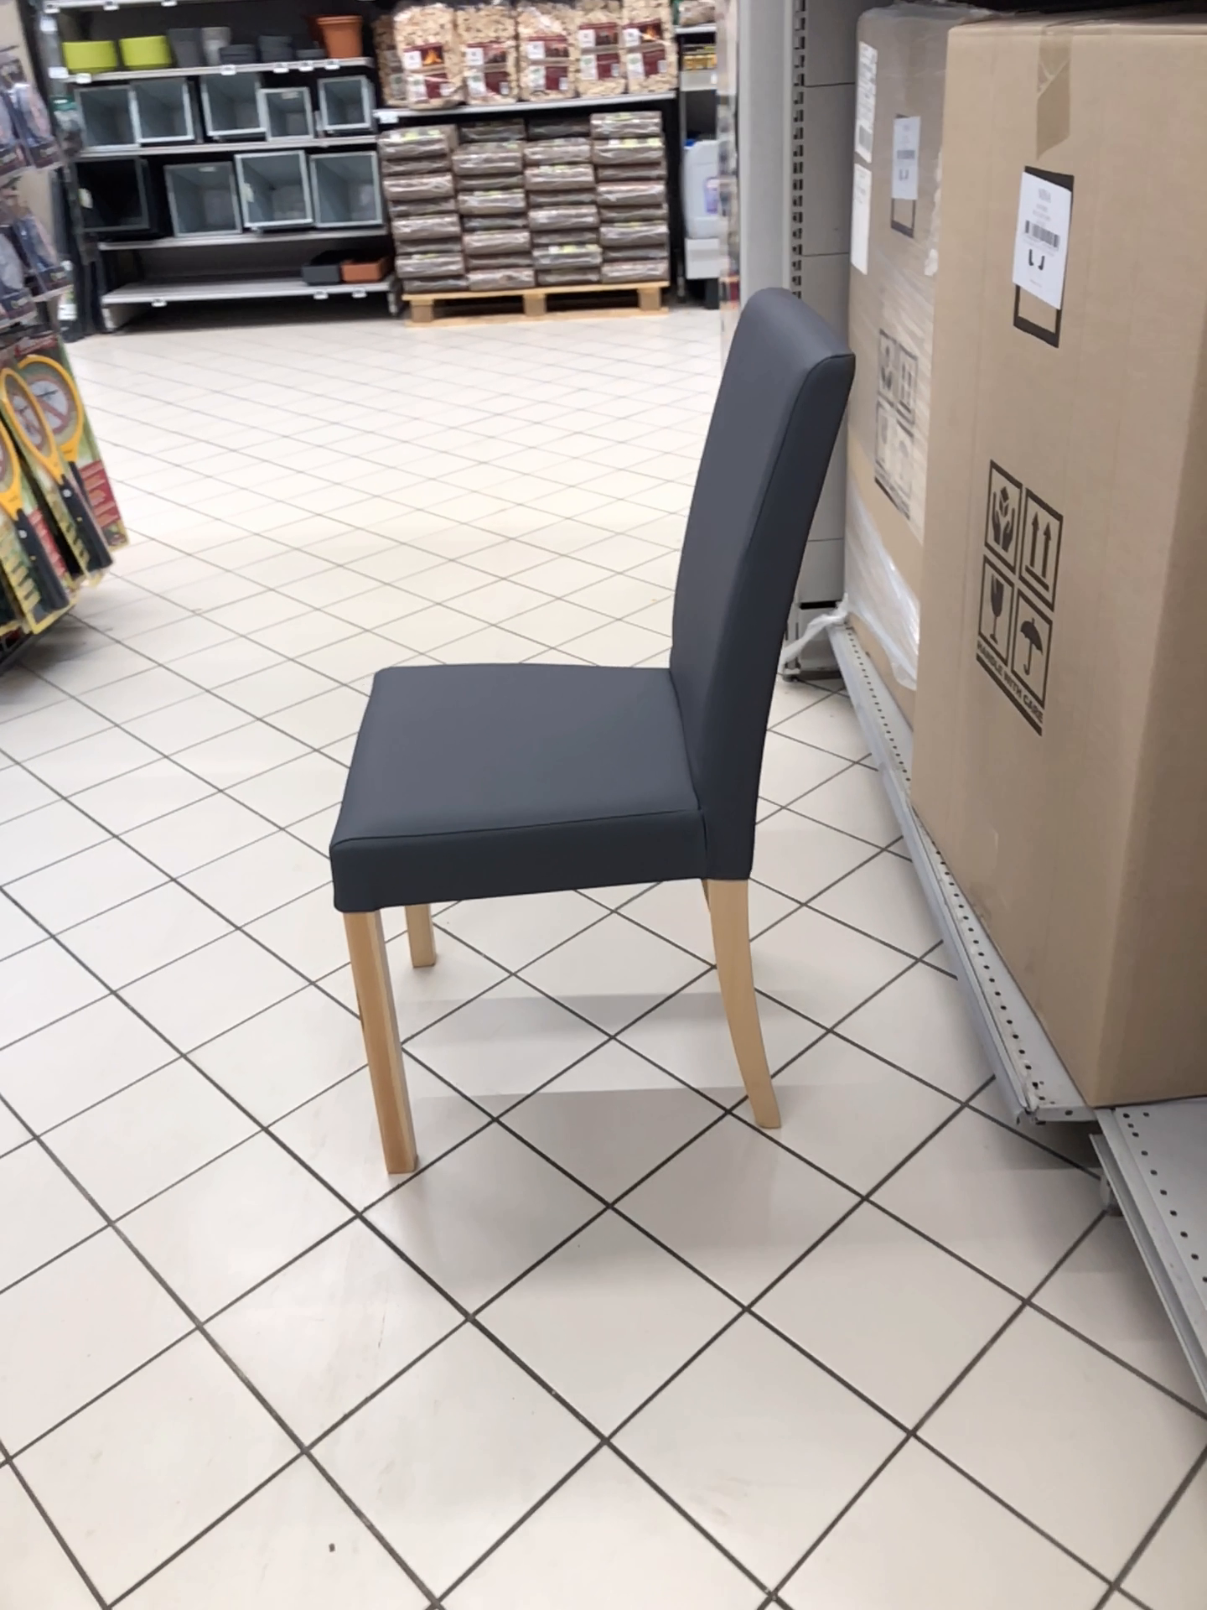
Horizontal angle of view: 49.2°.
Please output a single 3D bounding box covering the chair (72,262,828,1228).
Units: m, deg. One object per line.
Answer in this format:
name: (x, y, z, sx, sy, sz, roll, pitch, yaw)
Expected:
chair: (-0.111, -0.079, 1.397, 0.570, 0.825, 0.472, -9, 28, -6)
